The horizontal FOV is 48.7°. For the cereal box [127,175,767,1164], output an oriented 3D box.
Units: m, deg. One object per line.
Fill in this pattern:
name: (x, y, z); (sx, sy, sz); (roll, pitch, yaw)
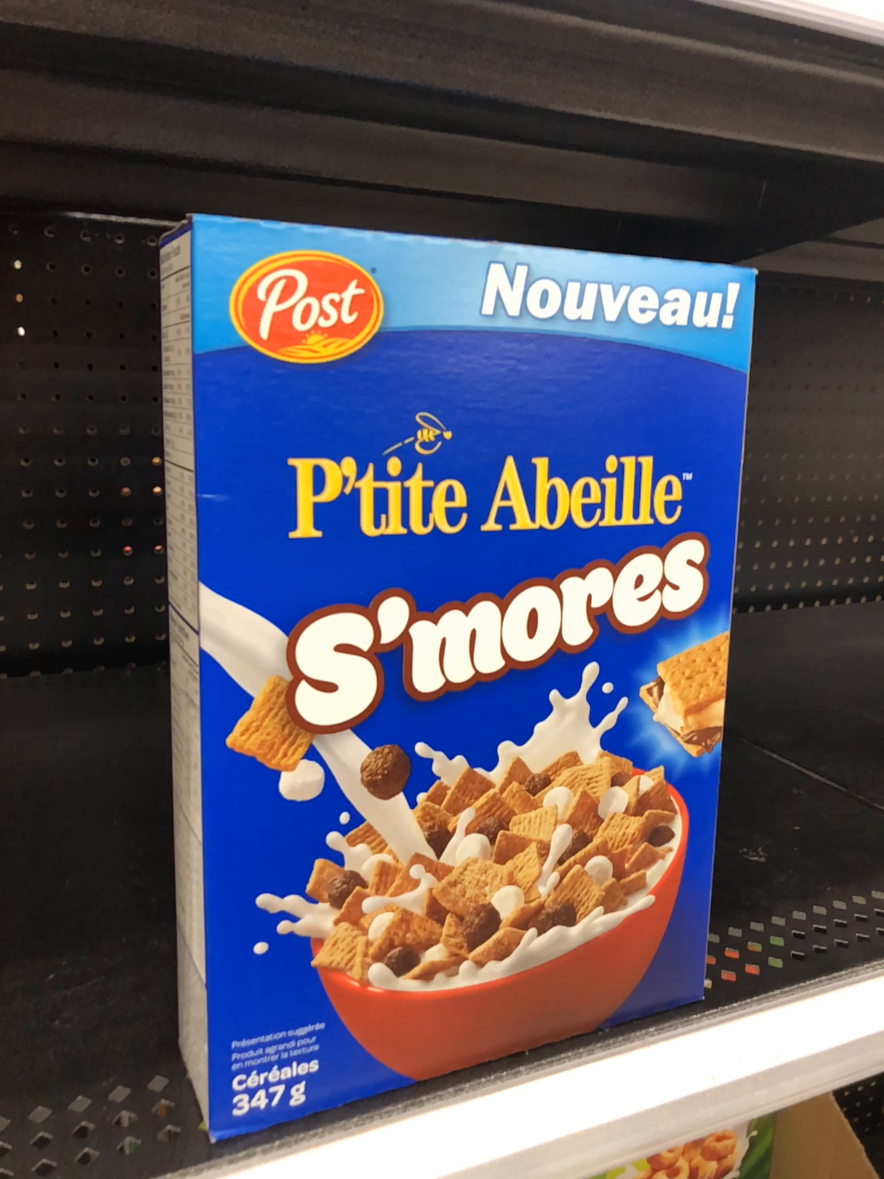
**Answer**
cereal box: (0.005, 0.022, 0.338); (0.200, 0.279, 0.060); (-4, 11, -26)
